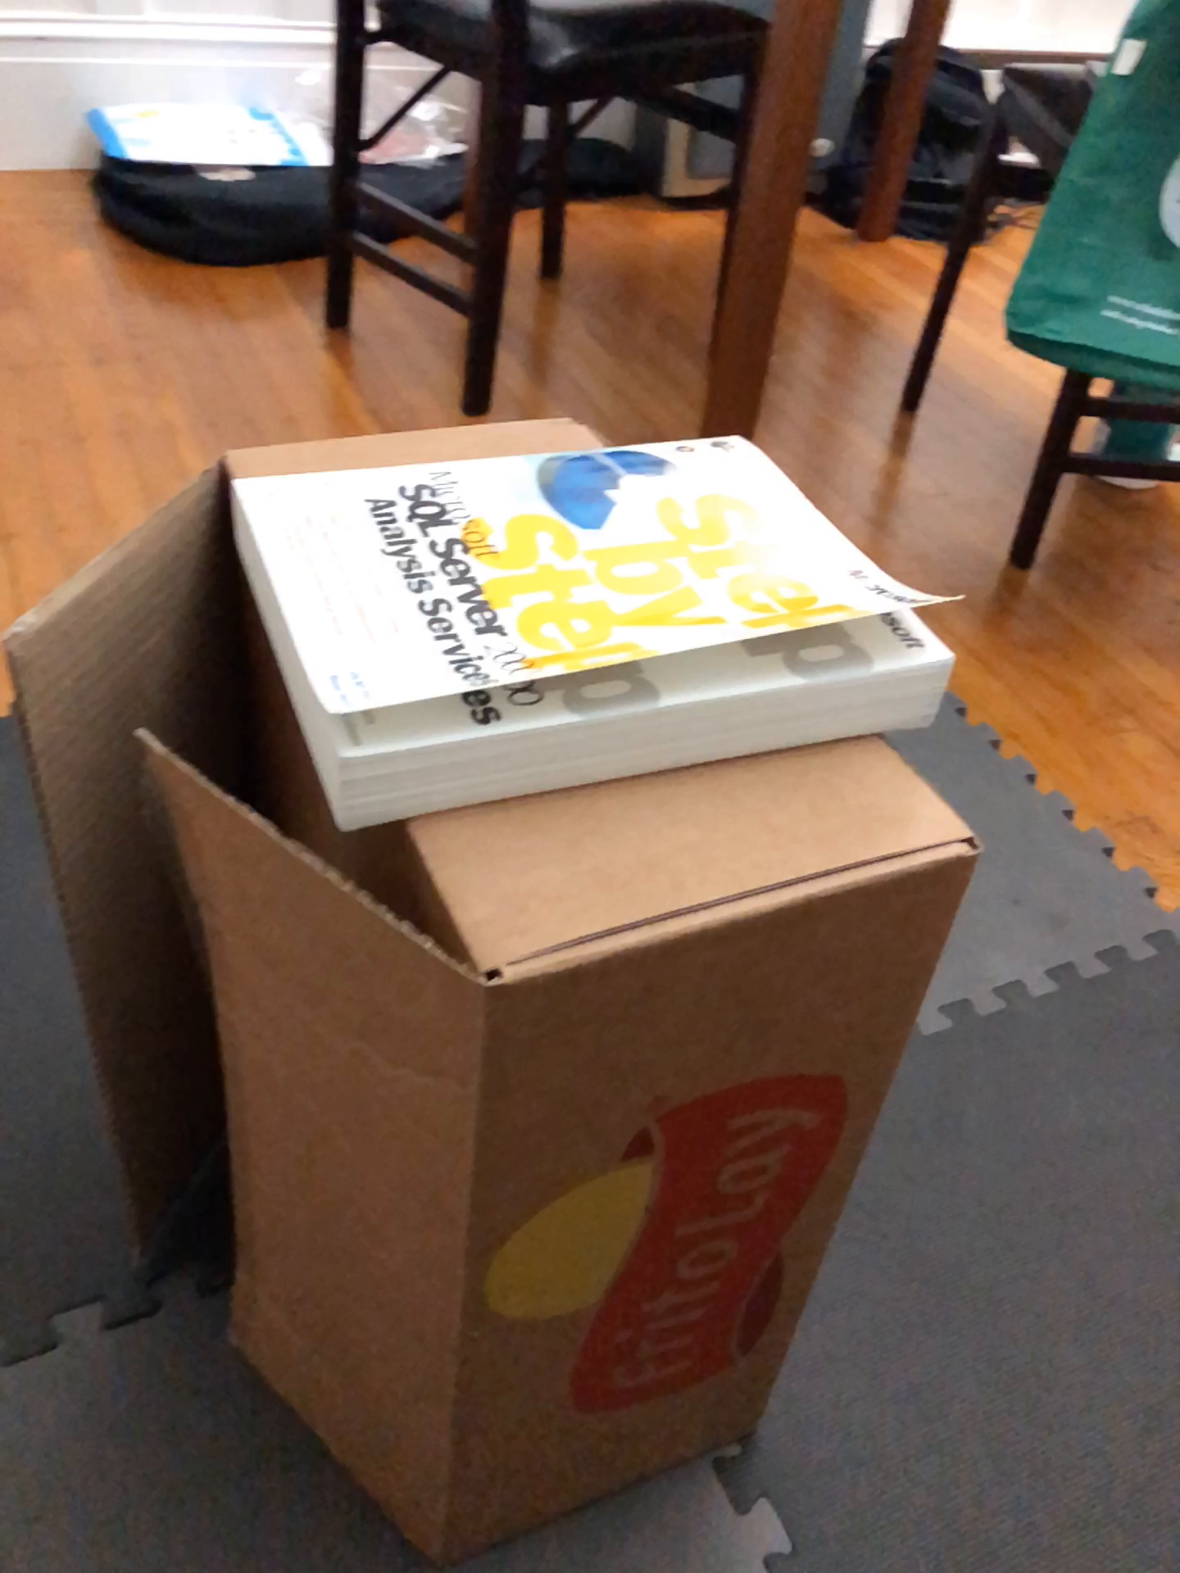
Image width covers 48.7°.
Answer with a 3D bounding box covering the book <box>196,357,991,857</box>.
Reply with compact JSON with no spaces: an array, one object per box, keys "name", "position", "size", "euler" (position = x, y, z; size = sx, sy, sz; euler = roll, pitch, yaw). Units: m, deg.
[{"name":"book","position":[-0.008,-0.087,0.506],"size":[0.240,0.050,0.201],"euler":[-13,47,-20]}]
